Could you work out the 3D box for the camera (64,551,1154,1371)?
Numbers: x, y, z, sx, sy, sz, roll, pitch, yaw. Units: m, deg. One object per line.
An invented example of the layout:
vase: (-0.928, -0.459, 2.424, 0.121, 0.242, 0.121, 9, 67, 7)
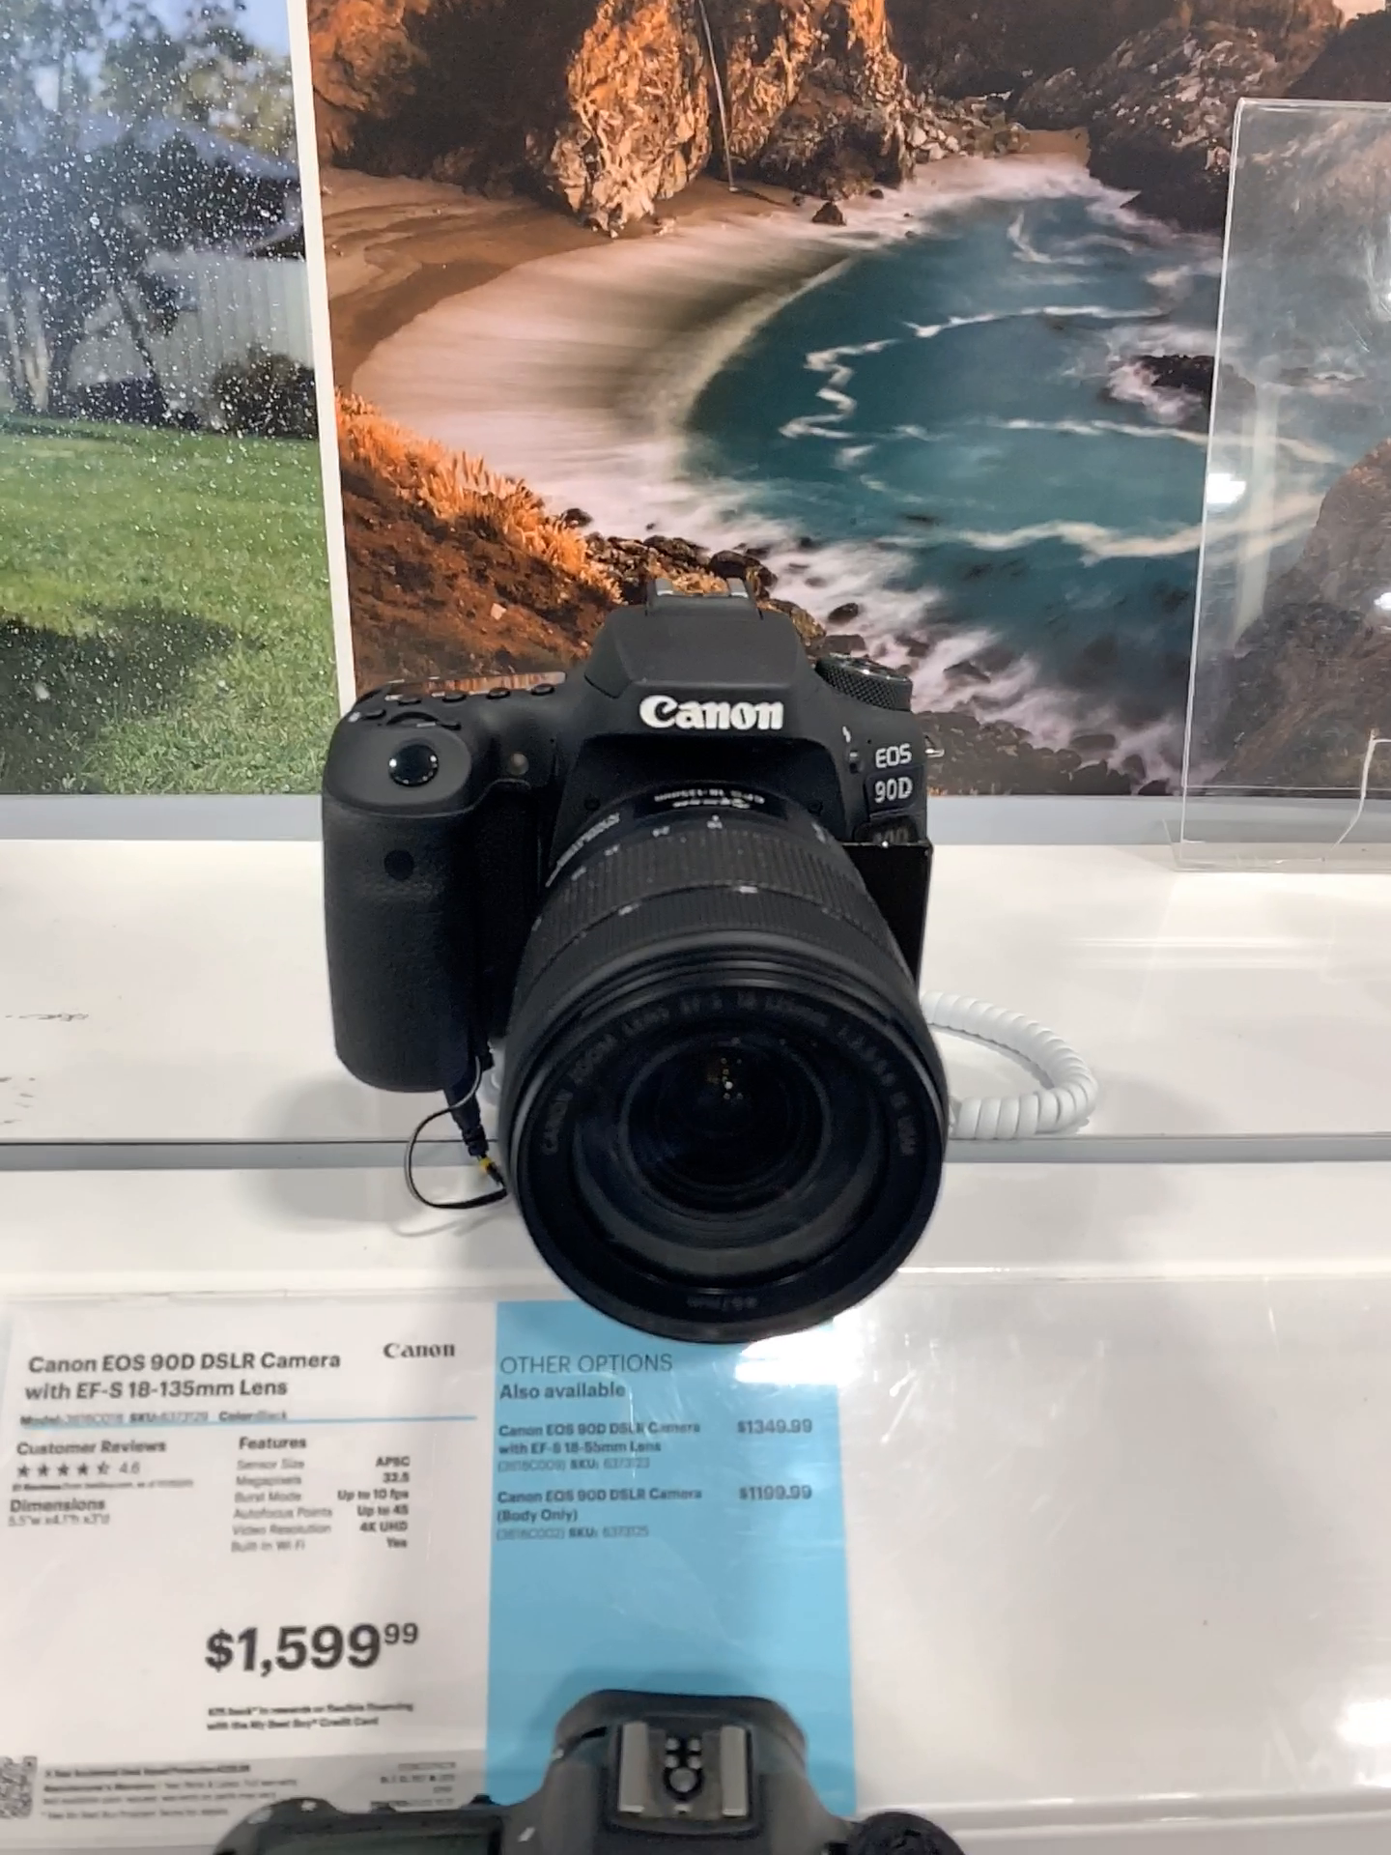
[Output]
camera: (-0.016, -0.011, 0.293, 0.148, 0.104, 0.171, -1, 23, -3)
